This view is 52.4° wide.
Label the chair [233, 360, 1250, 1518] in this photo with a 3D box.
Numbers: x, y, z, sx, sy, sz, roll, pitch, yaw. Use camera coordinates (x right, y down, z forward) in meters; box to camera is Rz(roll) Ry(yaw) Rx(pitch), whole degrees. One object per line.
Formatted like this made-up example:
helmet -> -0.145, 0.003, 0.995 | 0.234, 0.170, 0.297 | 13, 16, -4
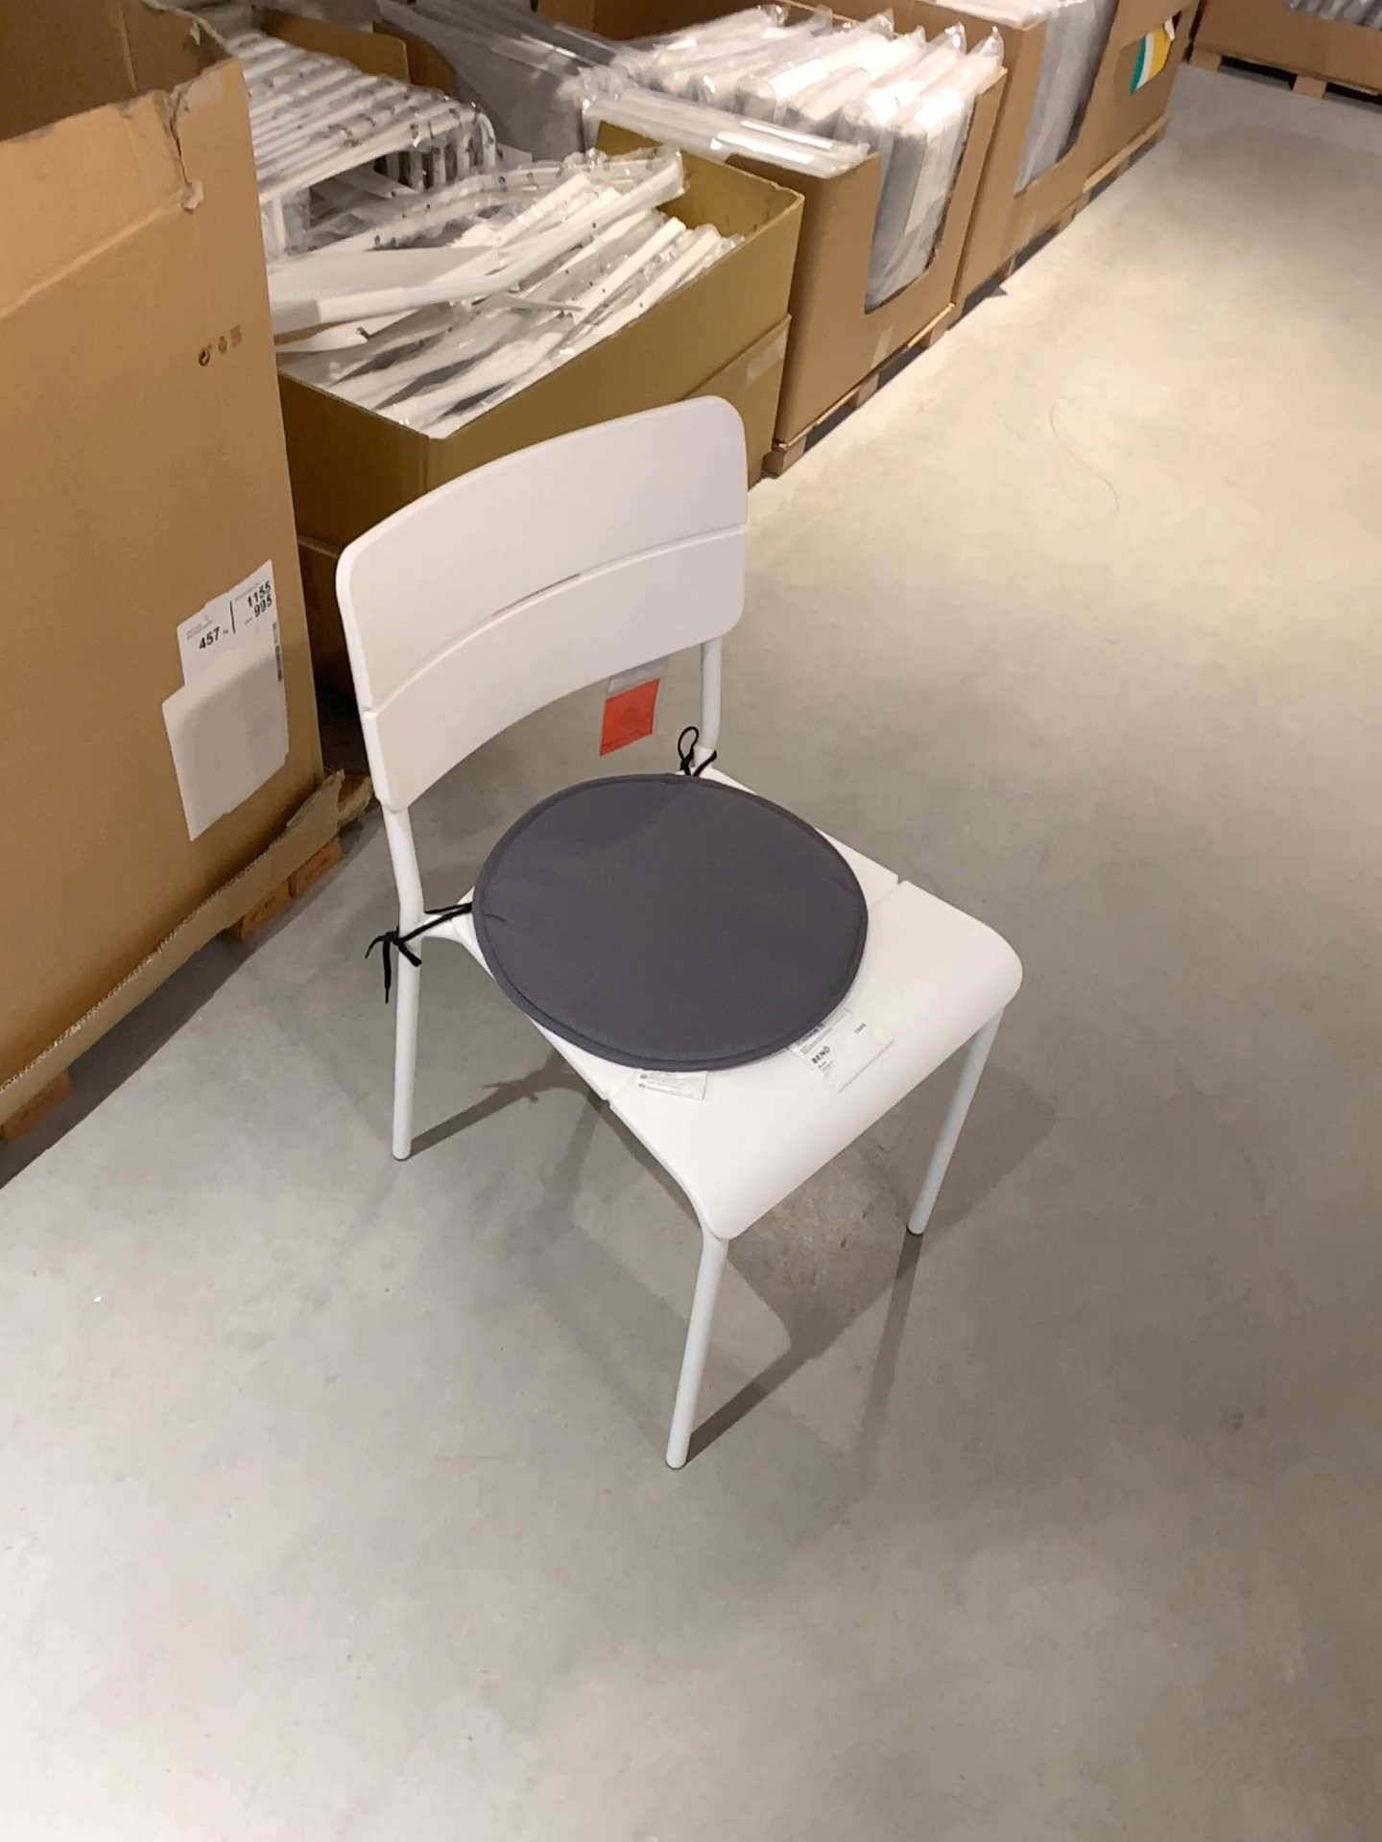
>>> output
chair -> 0.004, 0.032, 1.187 | 0.461, 0.718, 0.491 | -34, 60, -31
